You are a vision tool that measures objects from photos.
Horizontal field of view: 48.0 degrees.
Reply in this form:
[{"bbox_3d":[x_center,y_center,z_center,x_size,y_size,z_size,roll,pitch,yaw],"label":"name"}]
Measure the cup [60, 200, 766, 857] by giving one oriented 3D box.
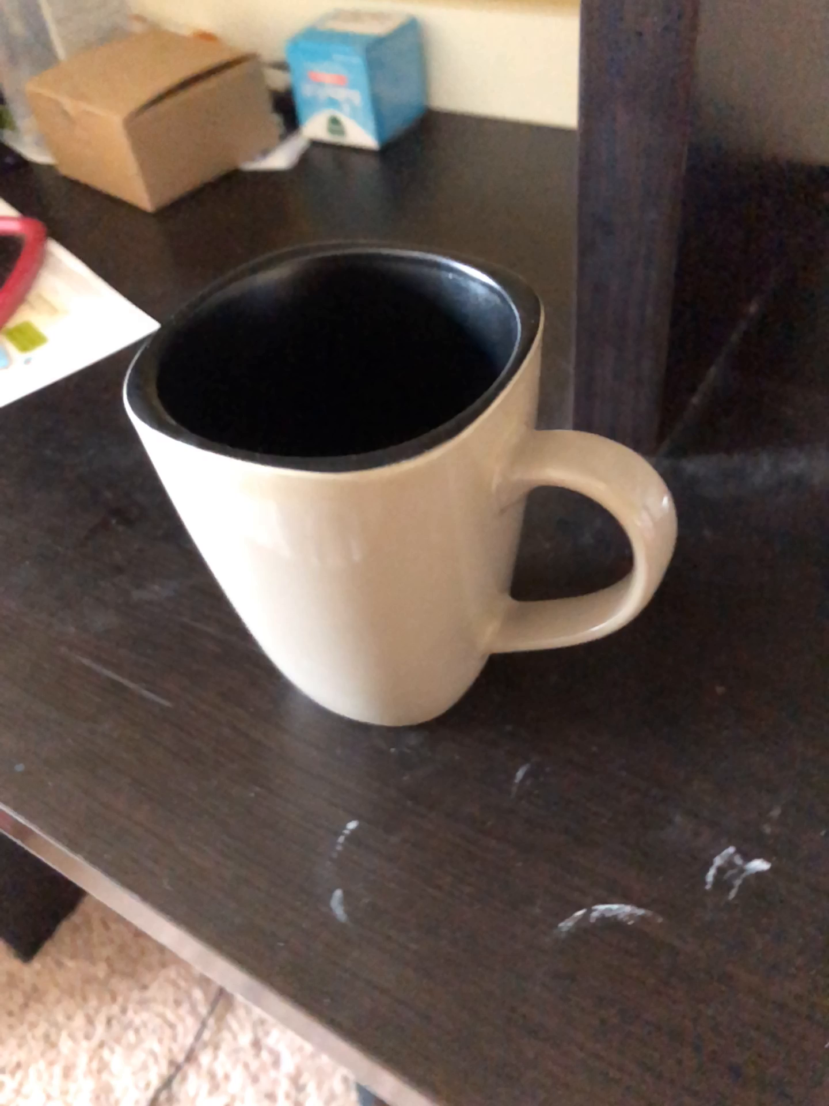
[{"bbox_3d":[0.007,-0.011,0.251,0.130,0.110,0.100,17,52,22],"label":"cup"}]
